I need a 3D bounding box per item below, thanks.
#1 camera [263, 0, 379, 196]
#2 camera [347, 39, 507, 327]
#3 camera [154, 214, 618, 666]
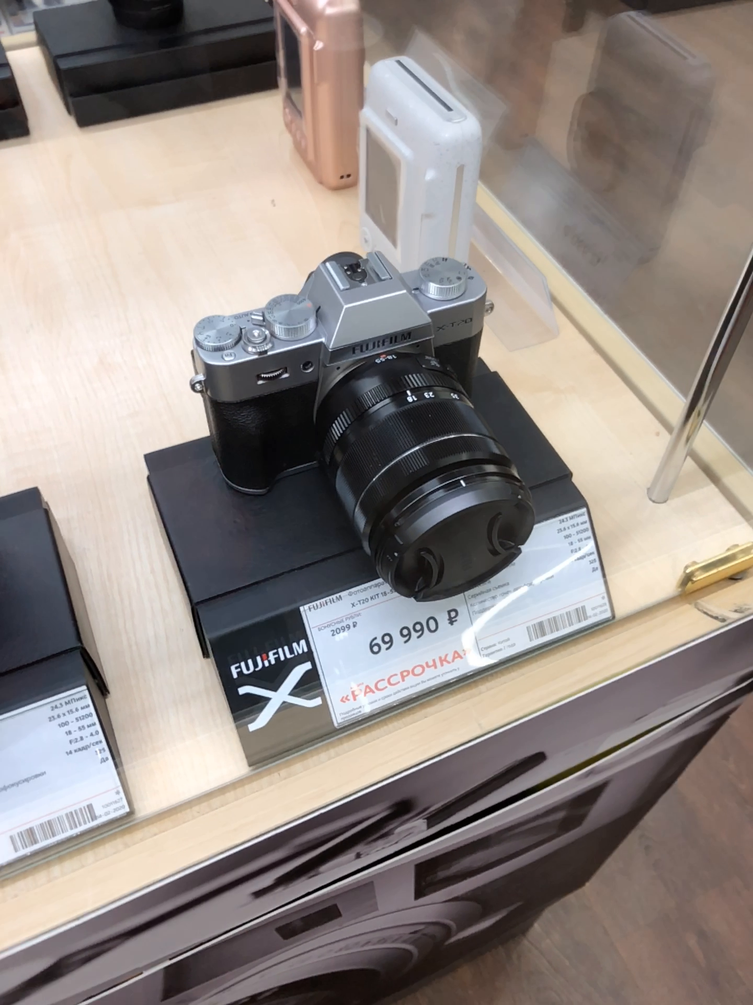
[{"bbox_3d":[-0.037,-0.285,0.551,0.043,0.118,0.101,-14,53,-13],"label":"camera"},{"bbox_3d":[0.021,-0.172,0.455,0.039,0.110,0.094,-20,55,-17],"label":"camera"},{"bbox_3d":[-0.004,-0.030,0.324,0.123,0.080,0.130,-16,54,-14],"label":"camera"}]
